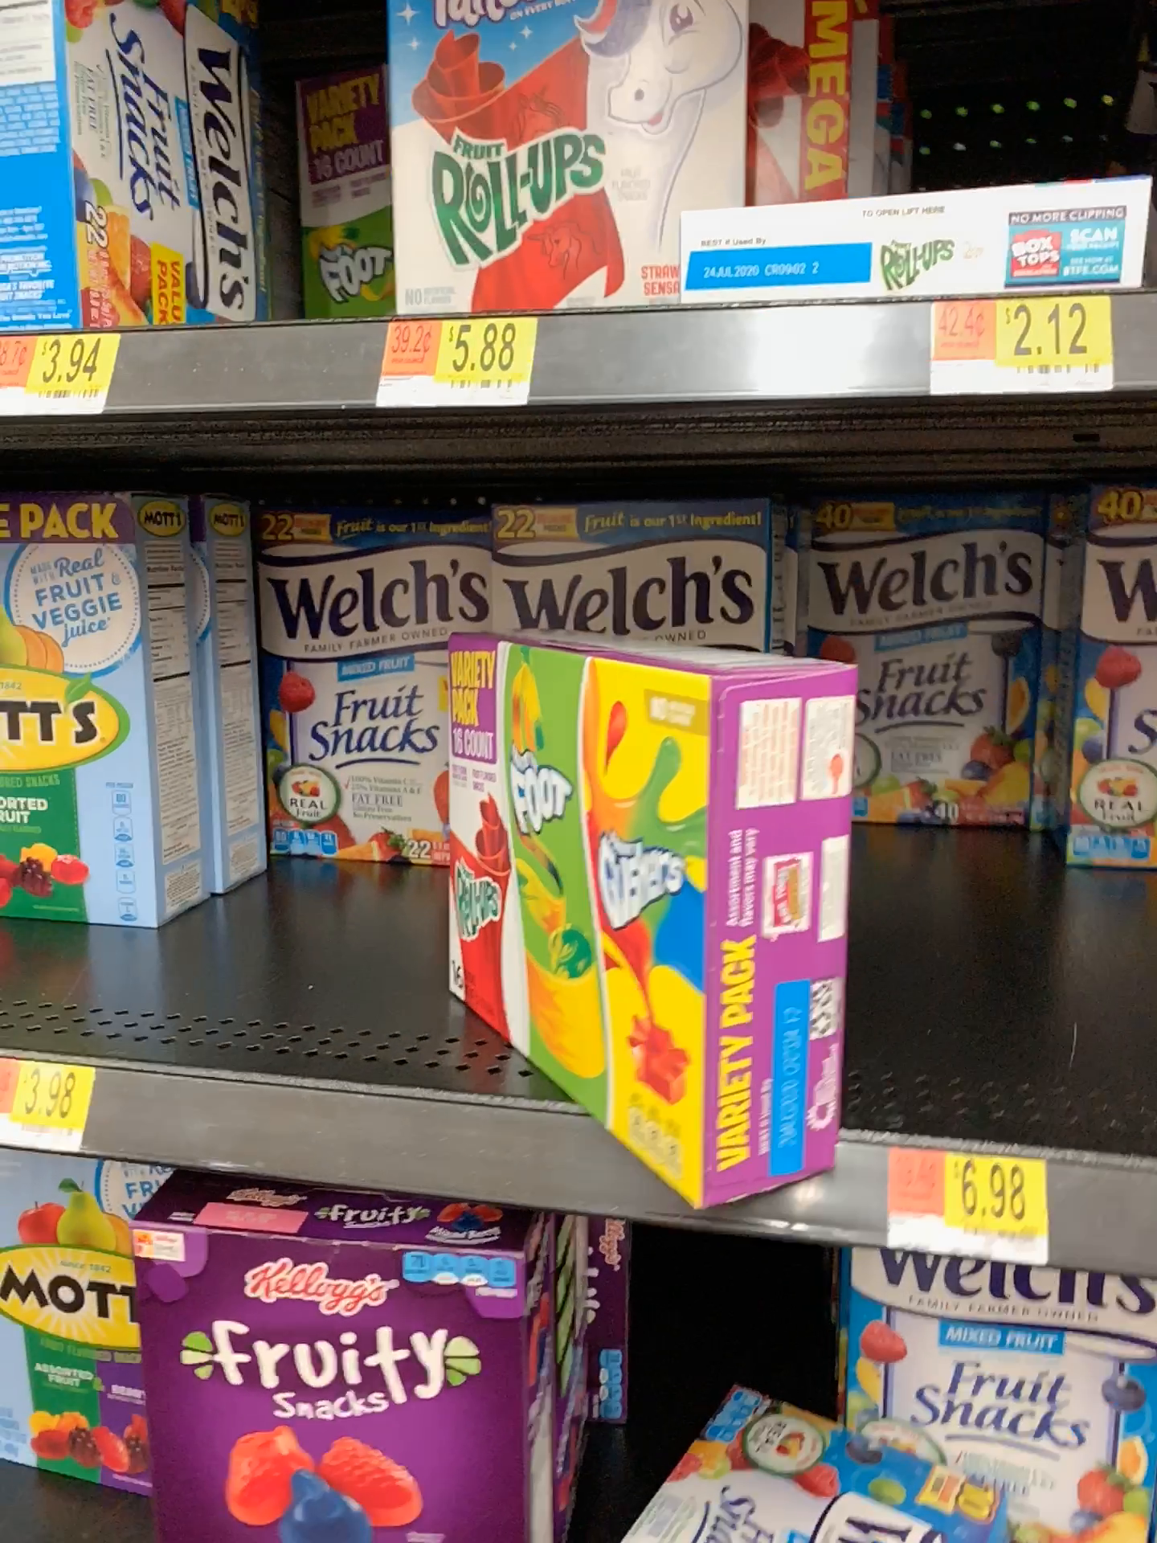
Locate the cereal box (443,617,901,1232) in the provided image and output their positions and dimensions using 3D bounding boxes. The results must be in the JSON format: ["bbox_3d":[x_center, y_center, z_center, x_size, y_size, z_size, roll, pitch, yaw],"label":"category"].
[{"bbox_3d":[0.018,0.034,0.455,0.060,0.170,0.221,-5,12,-27],"label":"cereal box"}]
